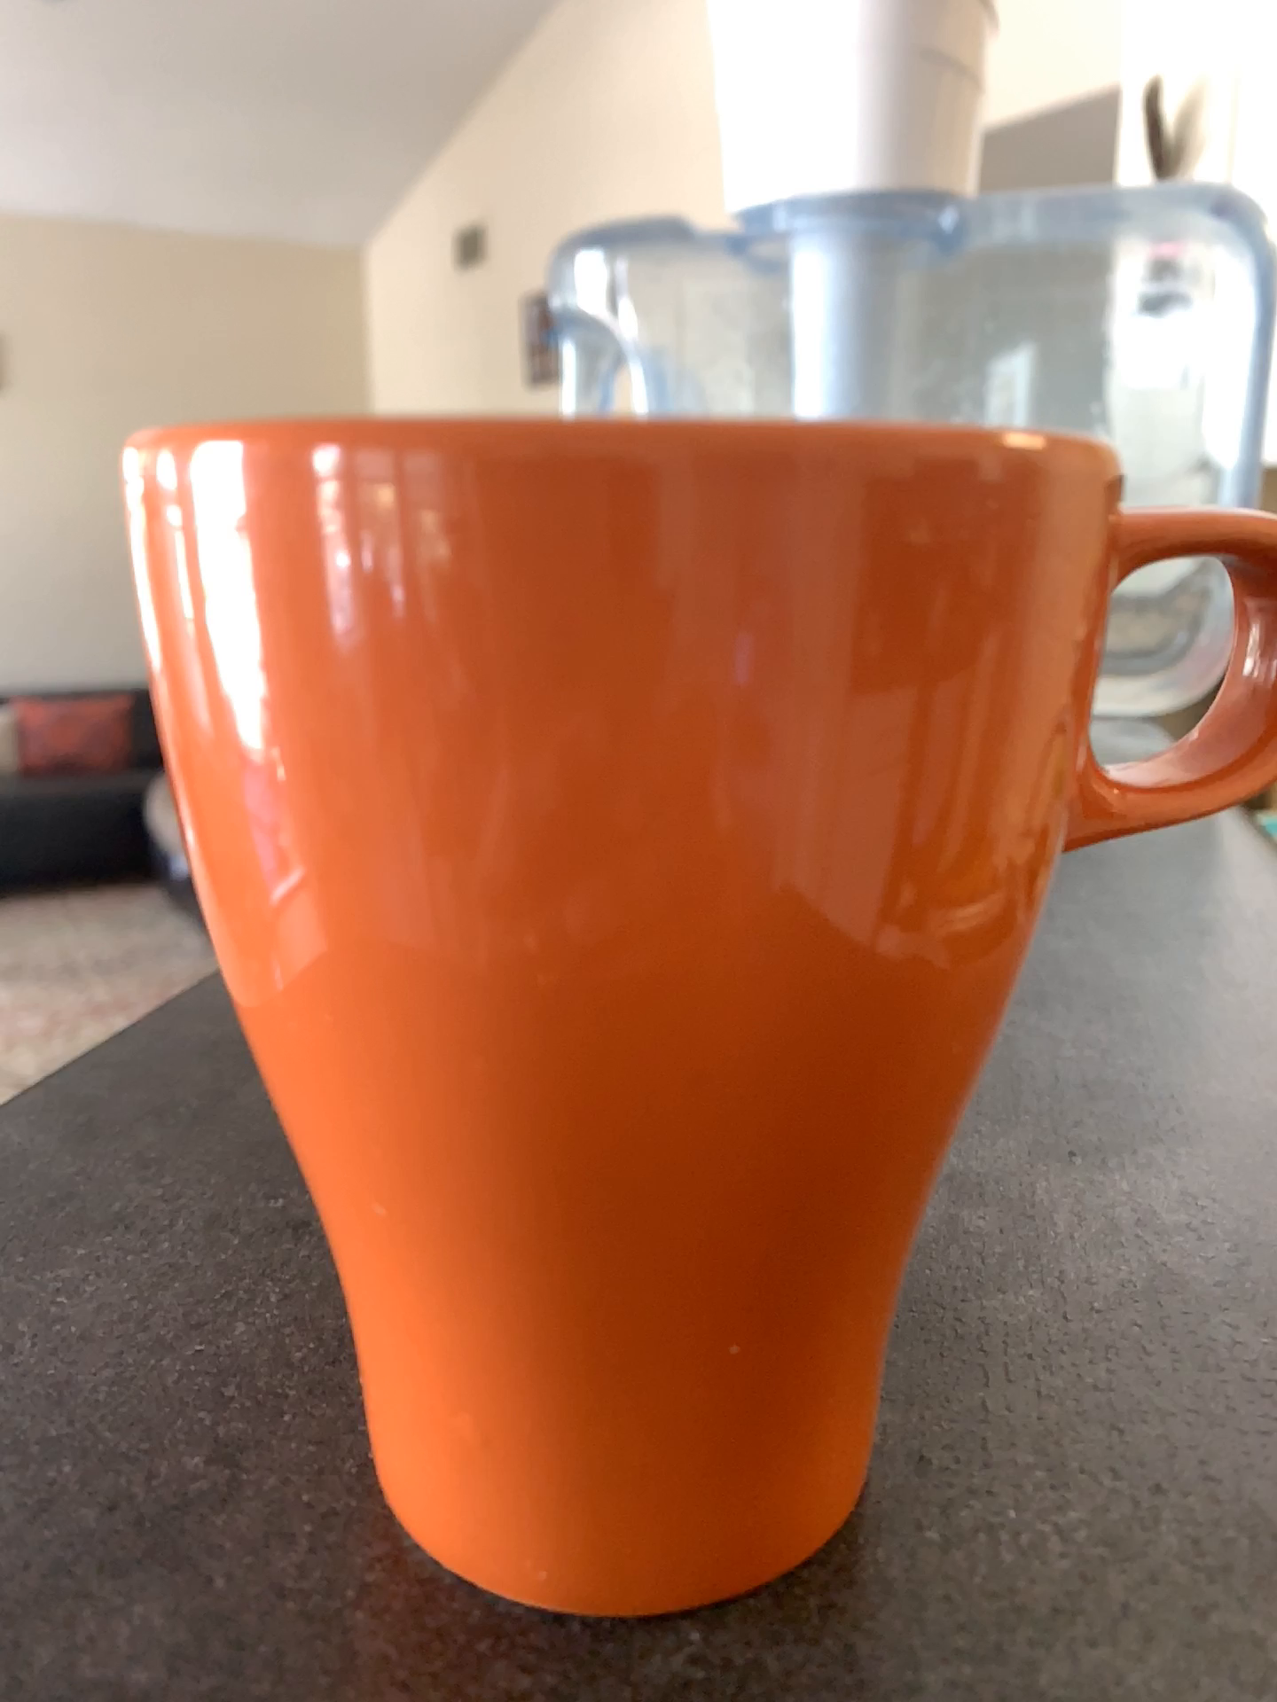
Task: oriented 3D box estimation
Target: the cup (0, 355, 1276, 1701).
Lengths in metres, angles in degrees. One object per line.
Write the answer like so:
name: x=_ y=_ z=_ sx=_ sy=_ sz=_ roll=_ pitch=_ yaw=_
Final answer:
cup: x=0.019 y=0.007 z=0.123 sx=0.120 sy=0.090 sz=0.080 roll=-2 pitch=14 yaw=-6
